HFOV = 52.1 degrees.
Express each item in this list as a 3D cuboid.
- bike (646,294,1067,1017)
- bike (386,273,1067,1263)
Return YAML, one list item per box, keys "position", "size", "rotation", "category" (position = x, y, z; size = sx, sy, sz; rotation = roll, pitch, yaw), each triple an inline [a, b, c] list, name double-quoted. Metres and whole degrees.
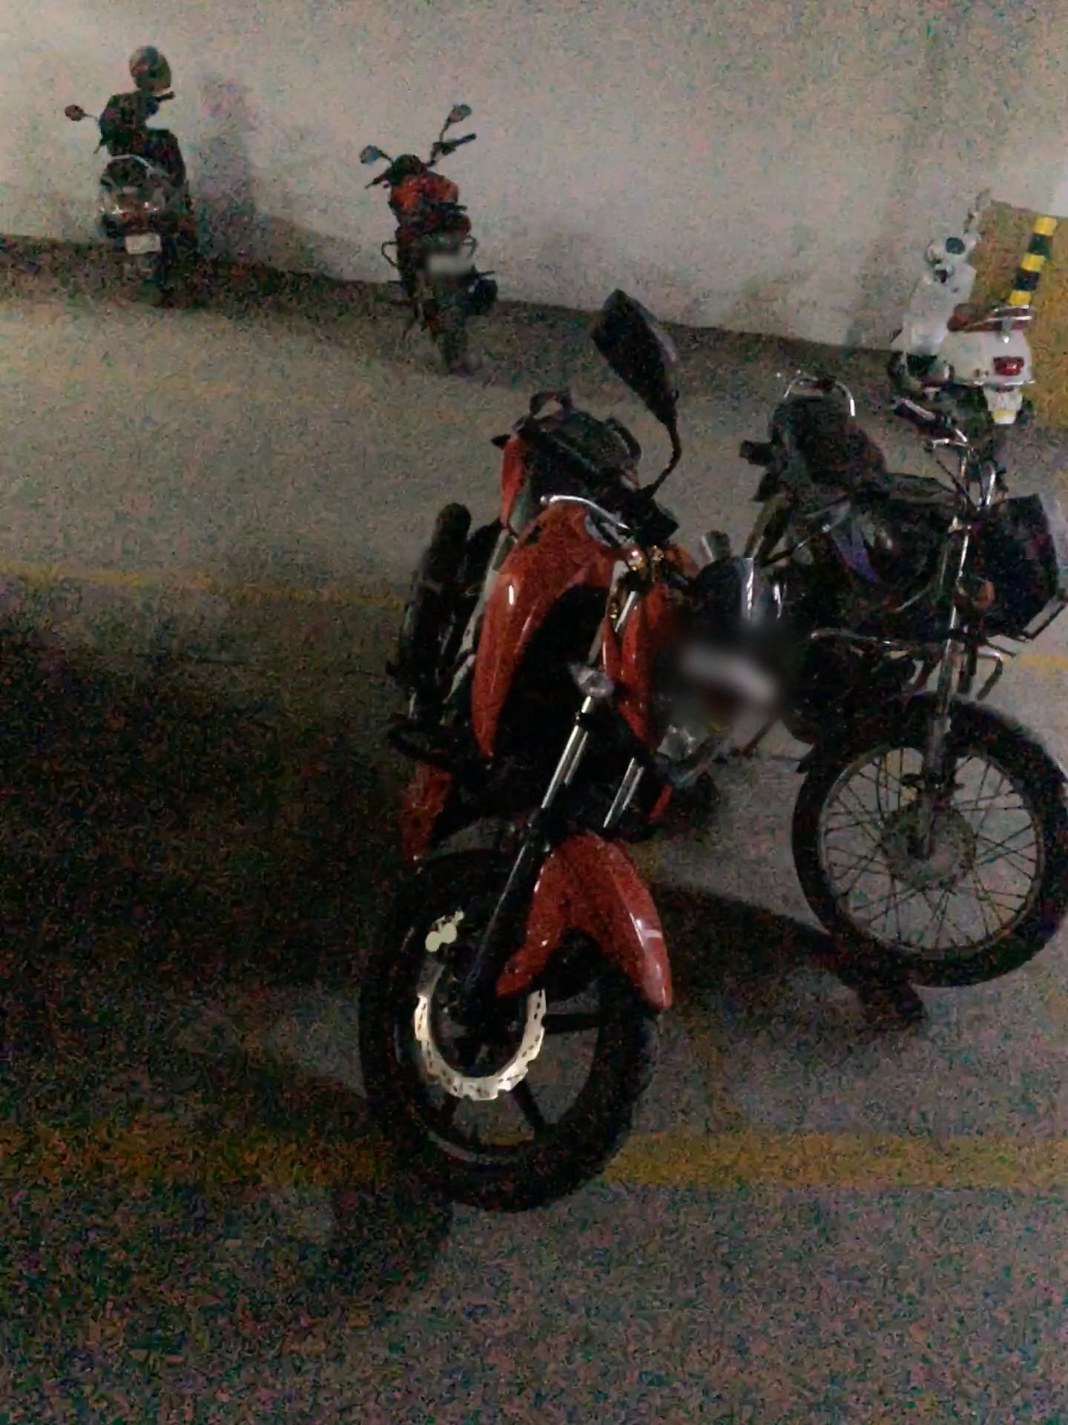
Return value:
- position: [0.890, -0.248, 2.565]
  size: [0.673, 0.934, 1.573]
  rotation: [2, 33, -13]
  category: "bike"
- position: [0.206, -0.059, 2.198]
  size: [0.801, 1.006, 1.701]
  rotation: [2, 34, -13]
  category: "bike"
